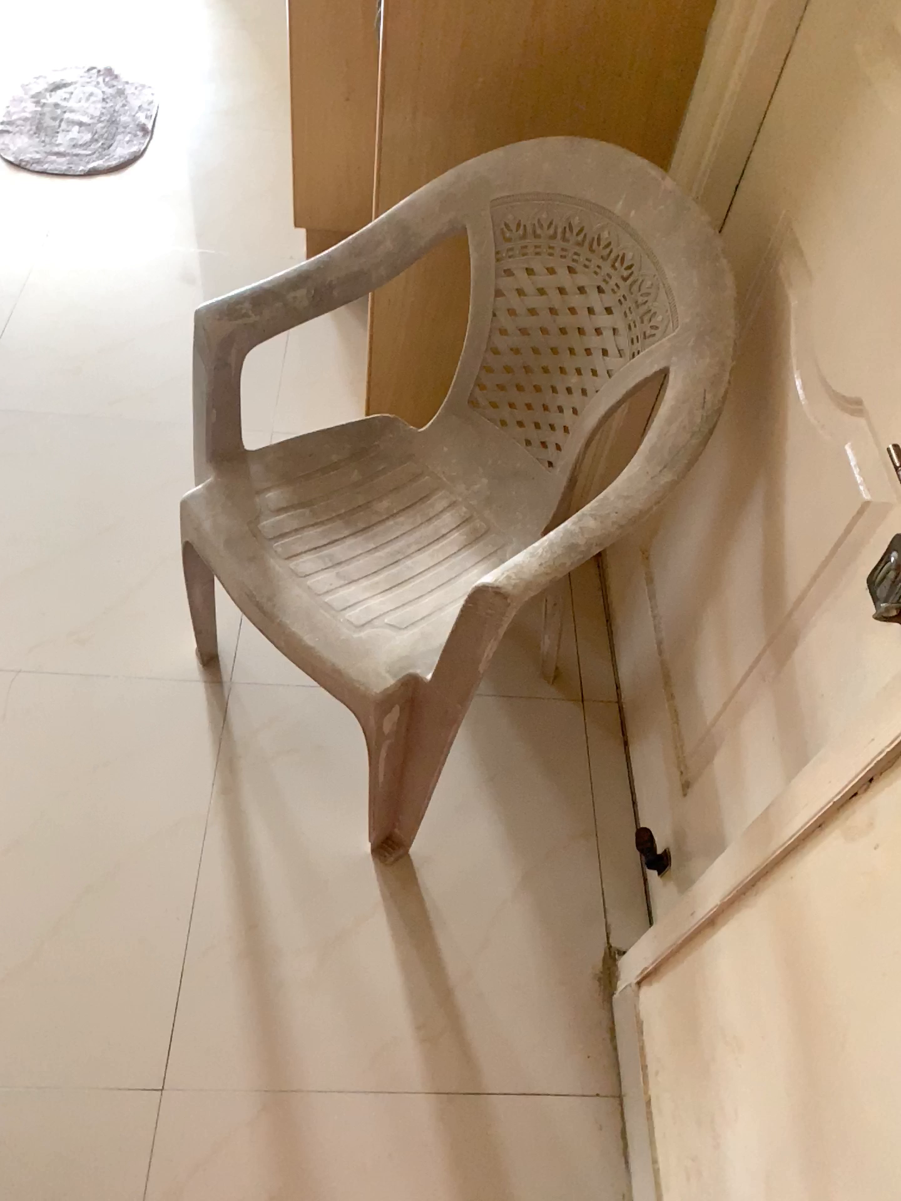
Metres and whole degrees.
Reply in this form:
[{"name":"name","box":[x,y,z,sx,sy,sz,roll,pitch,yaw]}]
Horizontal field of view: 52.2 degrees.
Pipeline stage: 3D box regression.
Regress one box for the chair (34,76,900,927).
[{"name":"chair","box":[-0.007,-0.128,1.240,0.672,0.725,0.612,-32,63,-27]}]
